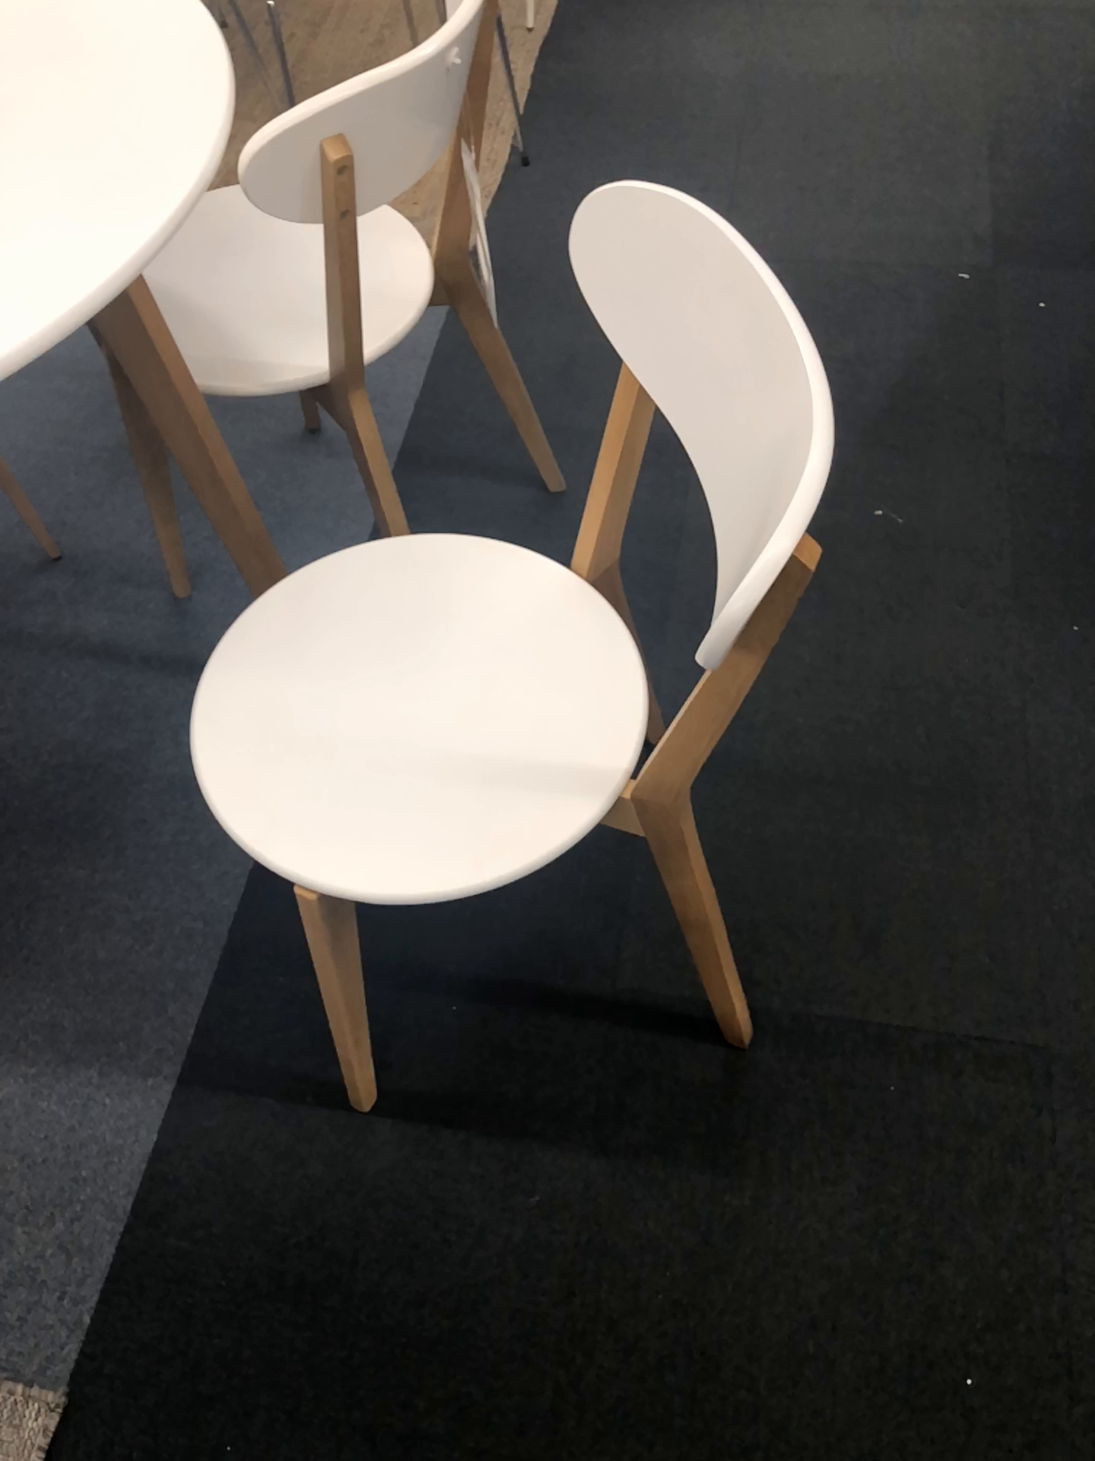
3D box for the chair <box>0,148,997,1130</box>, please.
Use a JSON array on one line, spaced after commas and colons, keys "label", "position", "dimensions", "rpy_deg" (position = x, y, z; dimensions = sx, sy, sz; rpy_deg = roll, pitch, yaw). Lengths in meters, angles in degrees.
[{"label": "chair", "position": [-0.050, -0.041, 1.029], "dimensions": [0.560, 0.598, 0.481], "rpy_deg": [-10, 55, -3]}]
